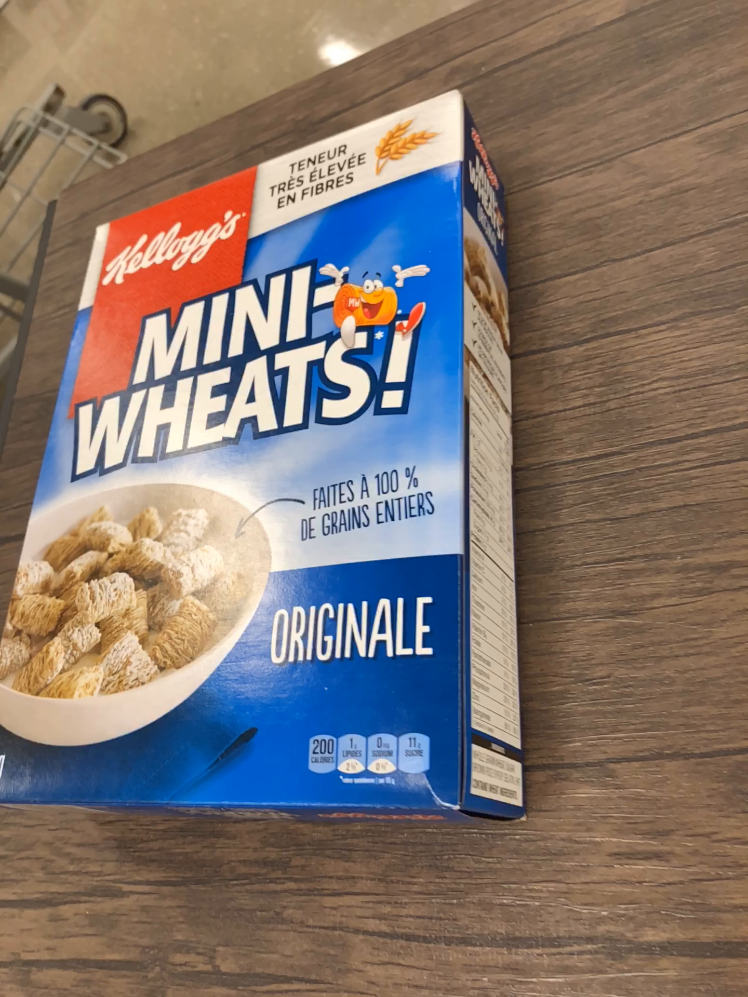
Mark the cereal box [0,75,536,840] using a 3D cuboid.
[{"bbox_3d":[-0.058,-0.014,0.340,0.231,0.060,0.270,-9,61,26],"label":"cereal box"}]
